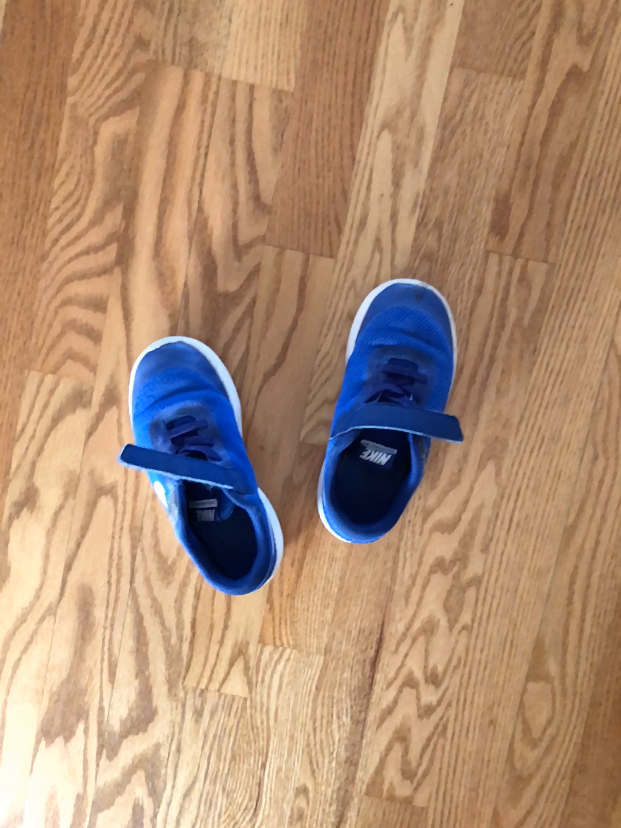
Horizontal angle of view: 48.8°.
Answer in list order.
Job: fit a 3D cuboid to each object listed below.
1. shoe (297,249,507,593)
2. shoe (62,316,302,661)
[{"bbox_3d":[0.060,0.003,0.500,0.093,0.092,0.214,12,96,-1],"label":"shoe"},{"bbox_3d":[-0.084,0.048,0.500,0.093,0.092,0.214,-18,96,2],"label":"shoe"}]
